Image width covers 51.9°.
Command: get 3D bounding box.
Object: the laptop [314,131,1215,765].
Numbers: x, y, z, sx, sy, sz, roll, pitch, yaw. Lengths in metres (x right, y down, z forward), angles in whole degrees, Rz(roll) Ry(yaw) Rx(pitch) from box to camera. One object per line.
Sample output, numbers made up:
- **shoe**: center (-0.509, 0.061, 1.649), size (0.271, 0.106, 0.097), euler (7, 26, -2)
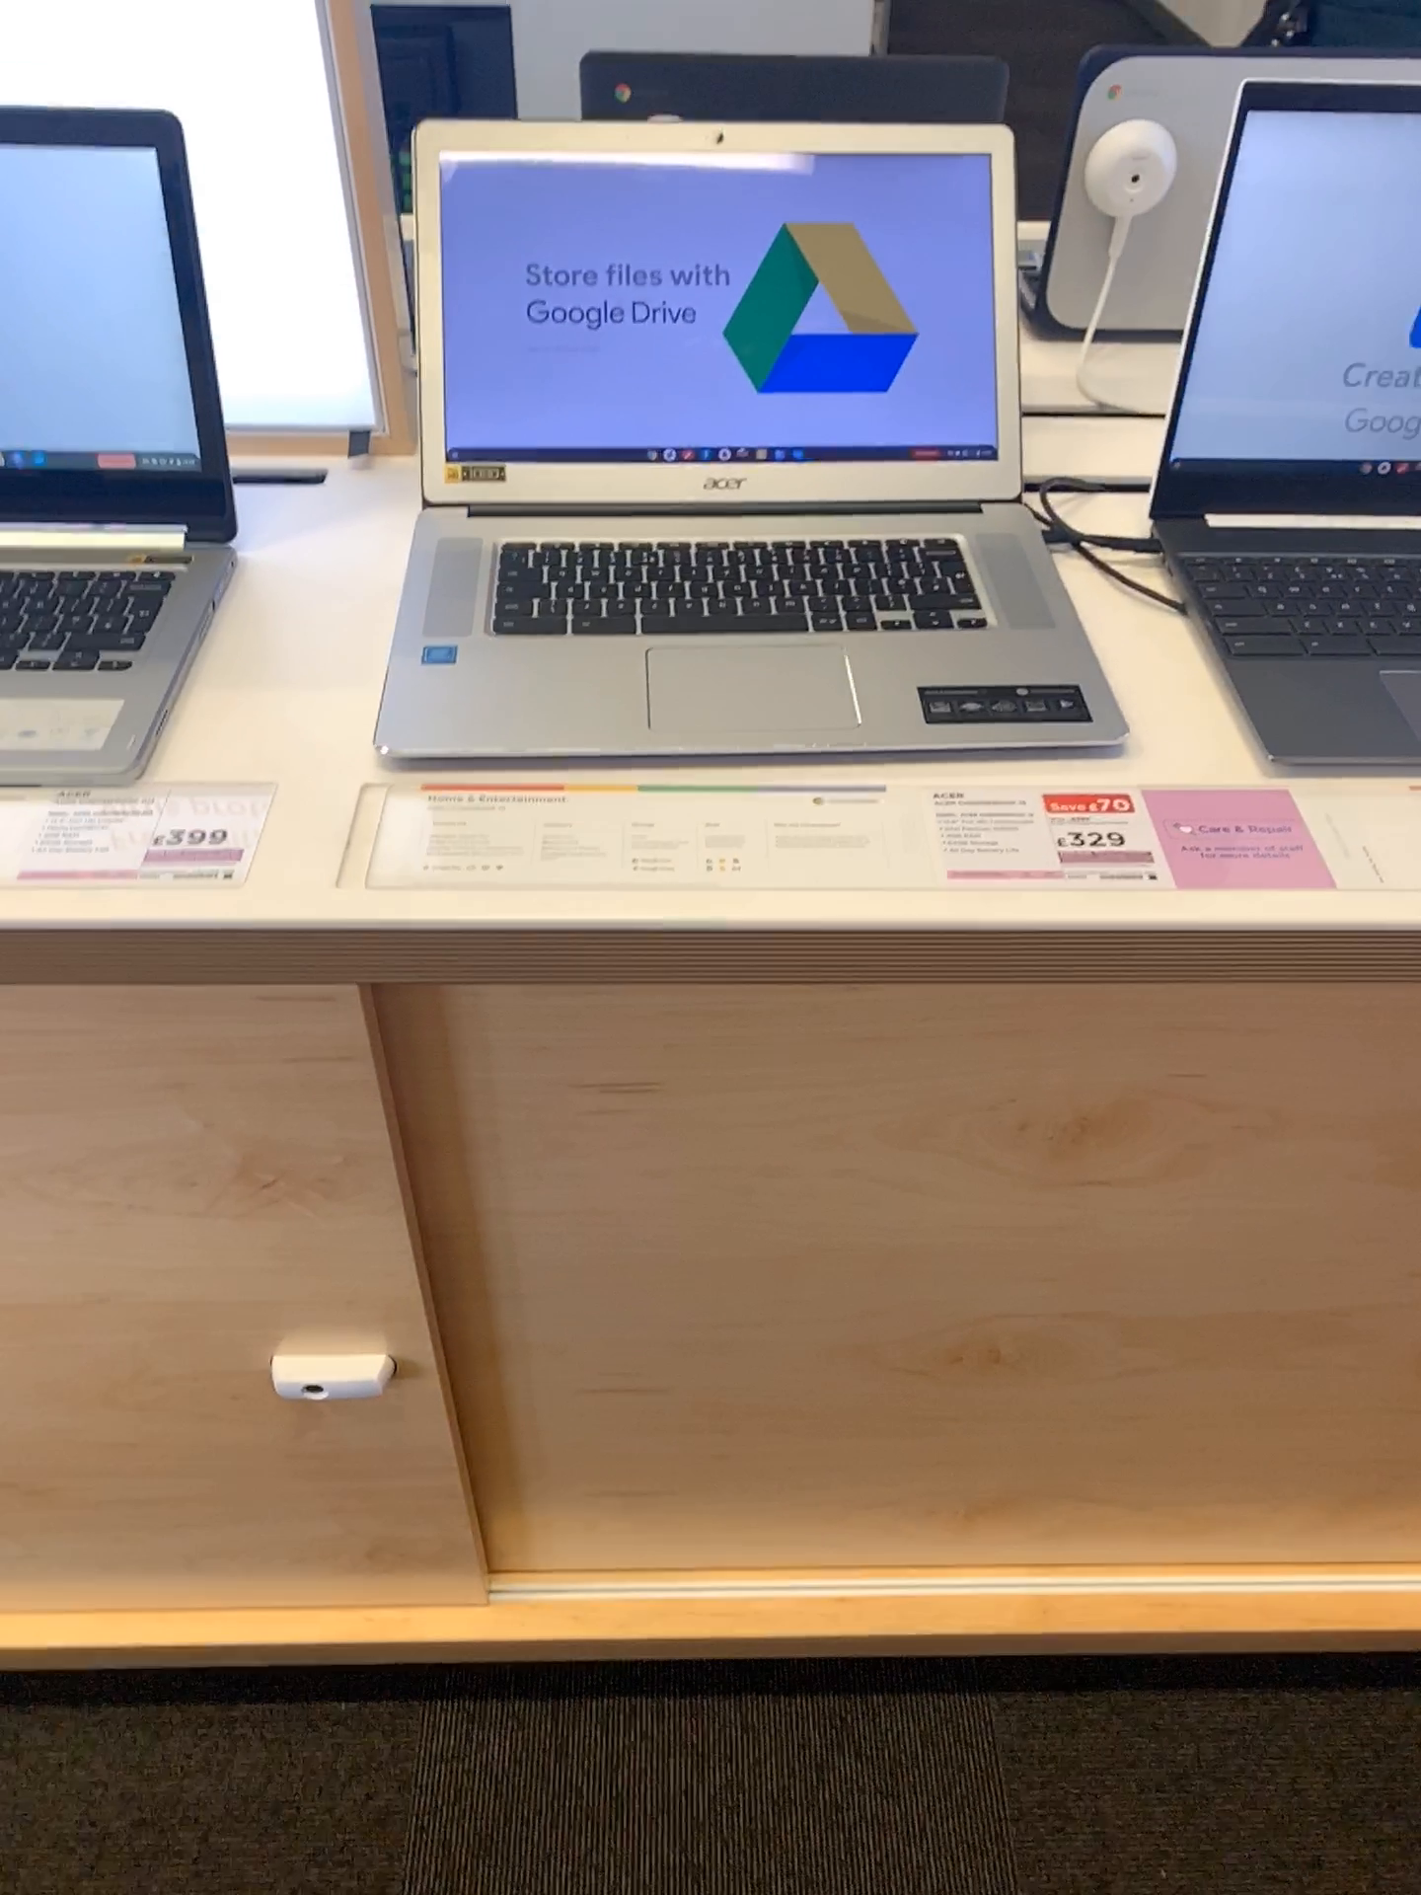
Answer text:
- **laptop**: center (0.013, -0.303, 0.819), size (0.375, 0.168, 0.433), euler (-1, 43, -3)
